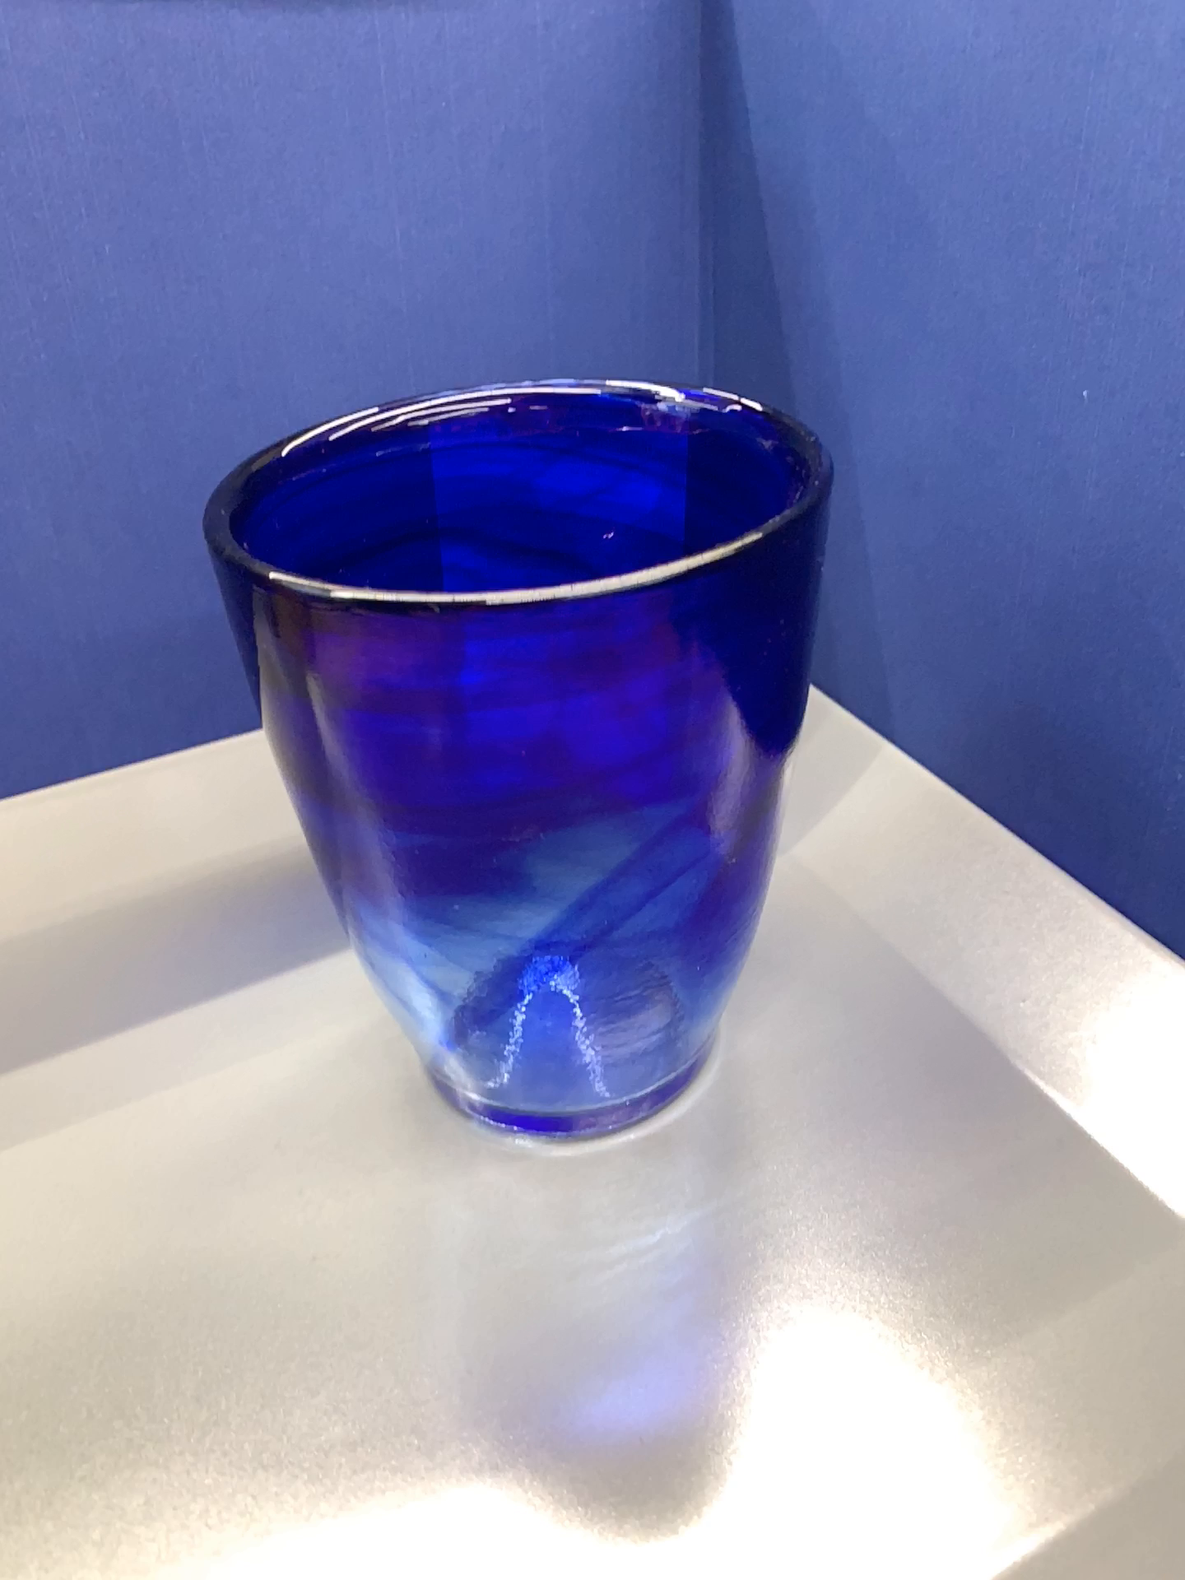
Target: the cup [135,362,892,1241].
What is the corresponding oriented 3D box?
[{"bbox_3d":[-0.003,-0.003,0.208,0.087,0.111,0.082,-2,32,1],"label":"cup"}]
